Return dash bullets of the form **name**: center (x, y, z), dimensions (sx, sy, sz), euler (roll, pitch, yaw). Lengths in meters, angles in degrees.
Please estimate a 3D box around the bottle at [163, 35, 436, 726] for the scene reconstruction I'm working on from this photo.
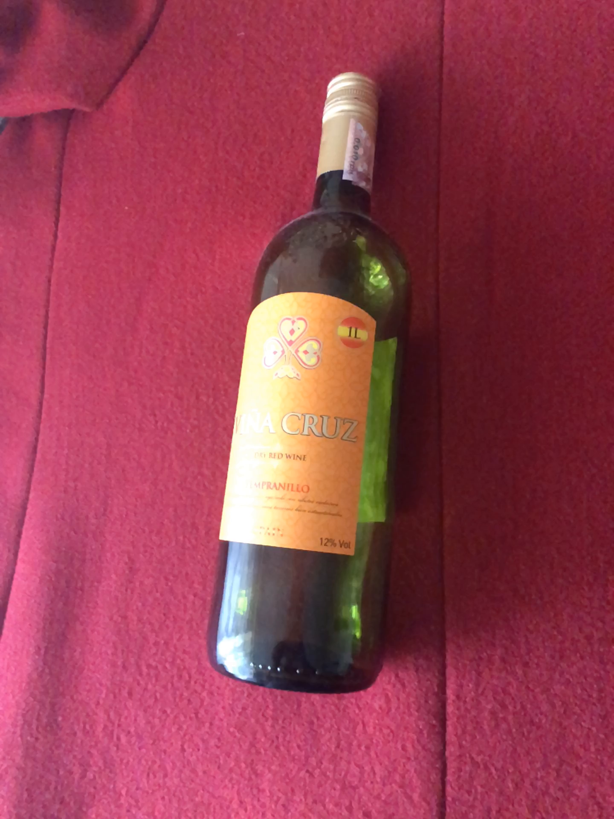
- **bottle**: center (0.006, -0.020, 0.332), dimensions (0.080, 0.070, 0.300), euler (1, 77, 23)
